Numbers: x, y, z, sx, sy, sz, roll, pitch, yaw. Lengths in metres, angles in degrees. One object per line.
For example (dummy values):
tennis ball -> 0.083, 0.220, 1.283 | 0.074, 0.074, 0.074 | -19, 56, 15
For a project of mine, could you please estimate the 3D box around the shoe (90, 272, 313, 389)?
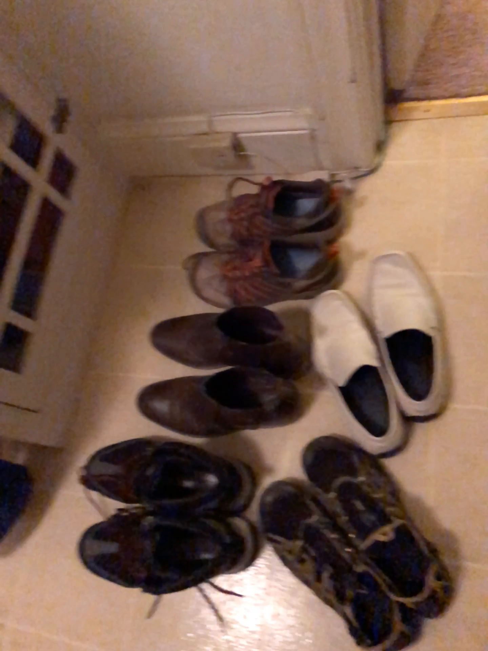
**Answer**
shoe -> -0.064, 0.010, 0.934 | 0.323, 0.193, 0.110 | 7, 73, 20

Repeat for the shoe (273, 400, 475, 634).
shoe -> 0.184, 0.270, 0.792 | 0.110, 0.123, 0.294 | -38, 64, 1

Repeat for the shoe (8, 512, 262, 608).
shoe -> -0.154, 0.351, 0.826 | 0.323, 0.193, 0.110 | -5, 69, 16

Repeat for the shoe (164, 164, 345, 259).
shoe -> 0.024, -0.208, 1.008 | 0.313, 0.113, 0.110 | 0, 70, 18

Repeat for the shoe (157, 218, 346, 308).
shoe -> 0.017, -0.107, 0.966 | 0.313, 0.113, 0.110 | 0, 70, 18

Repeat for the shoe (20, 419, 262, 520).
shoe -> -0.158, 0.238, 0.878 | 0.323, 0.193, 0.110 | 1, 71, 19

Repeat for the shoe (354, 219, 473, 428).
shoe -> 0.269, -0.002, 0.870 | 0.110, 0.113, 0.304 | -12, 67, 14

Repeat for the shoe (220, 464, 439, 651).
shoe -> 0.121, 0.351, 0.779 | 0.294, 0.123, 0.110 | 40, 86, 26

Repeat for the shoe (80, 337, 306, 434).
shoe -> -0.074, 0.111, 0.901 | 0.323, 0.193, 0.110 | -4, 69, 17

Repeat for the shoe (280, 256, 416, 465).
shoe -> 0.168, 0.057, 0.878 | 0.110, 0.113, 0.304 | -21, 65, 10
